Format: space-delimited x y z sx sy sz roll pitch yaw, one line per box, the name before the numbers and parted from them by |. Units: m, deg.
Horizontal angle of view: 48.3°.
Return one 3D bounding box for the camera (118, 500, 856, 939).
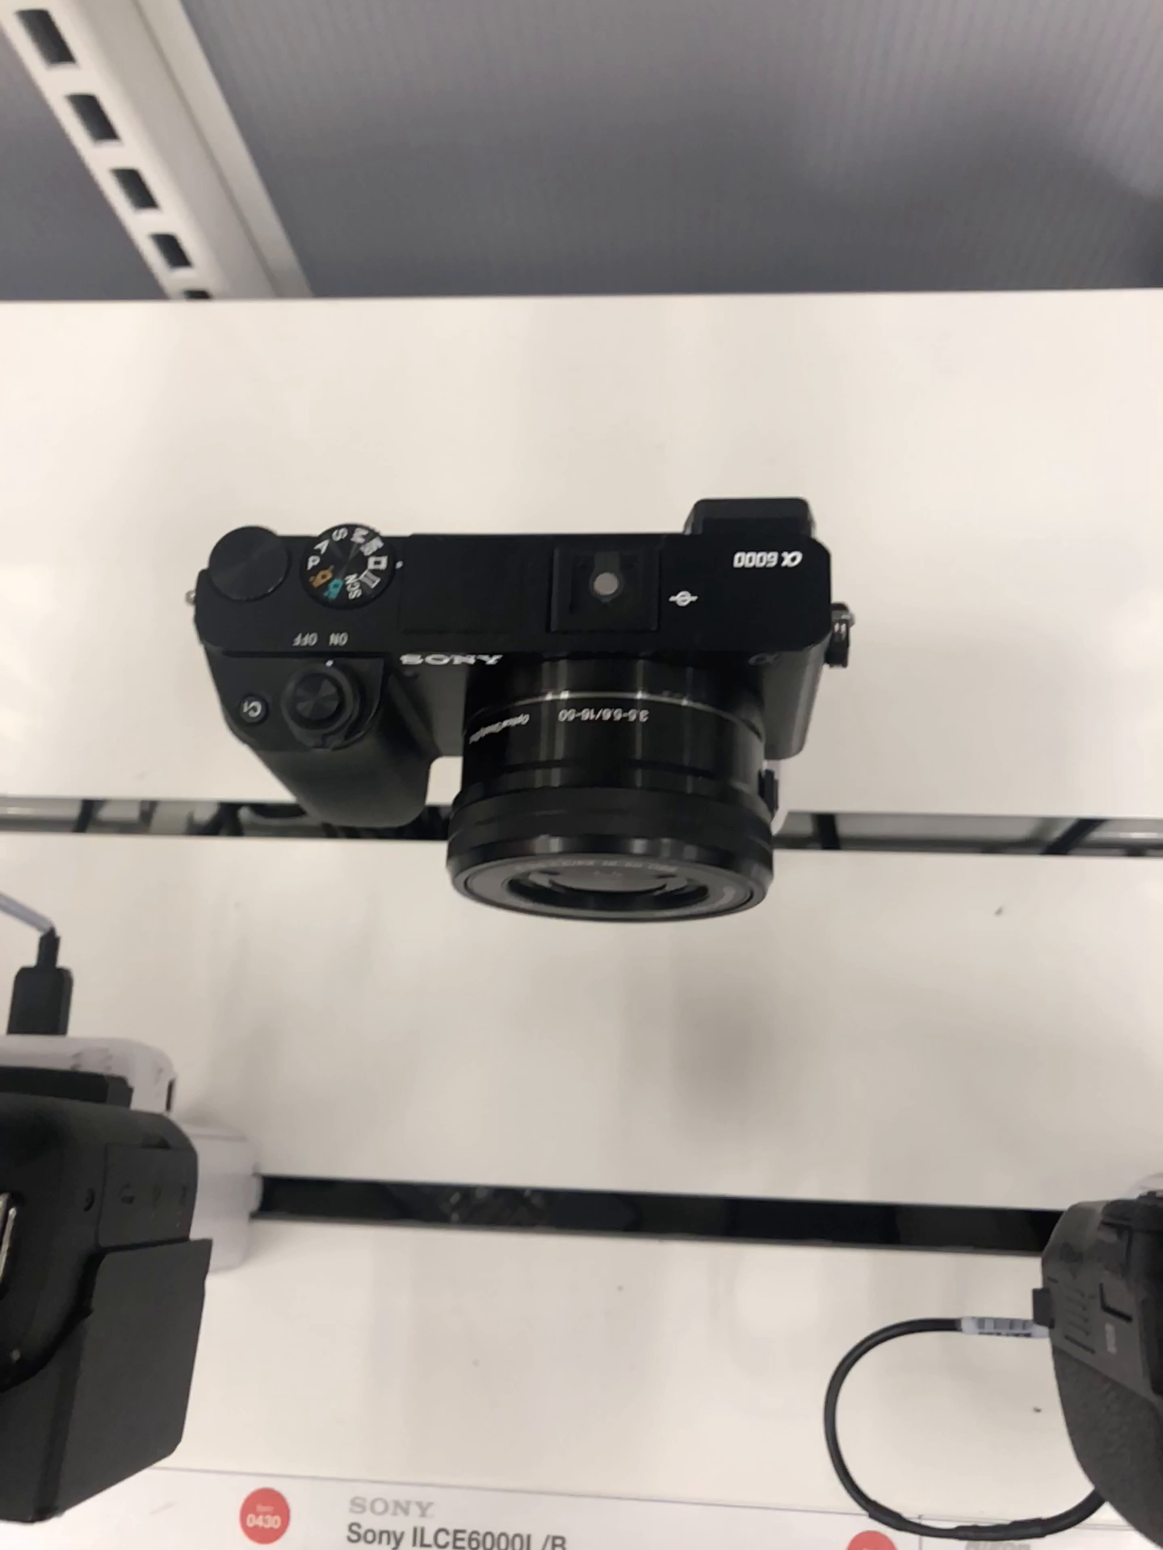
camera | -0.014 -0.007 0.246 0.120 0.058 0.067 0 74 4
